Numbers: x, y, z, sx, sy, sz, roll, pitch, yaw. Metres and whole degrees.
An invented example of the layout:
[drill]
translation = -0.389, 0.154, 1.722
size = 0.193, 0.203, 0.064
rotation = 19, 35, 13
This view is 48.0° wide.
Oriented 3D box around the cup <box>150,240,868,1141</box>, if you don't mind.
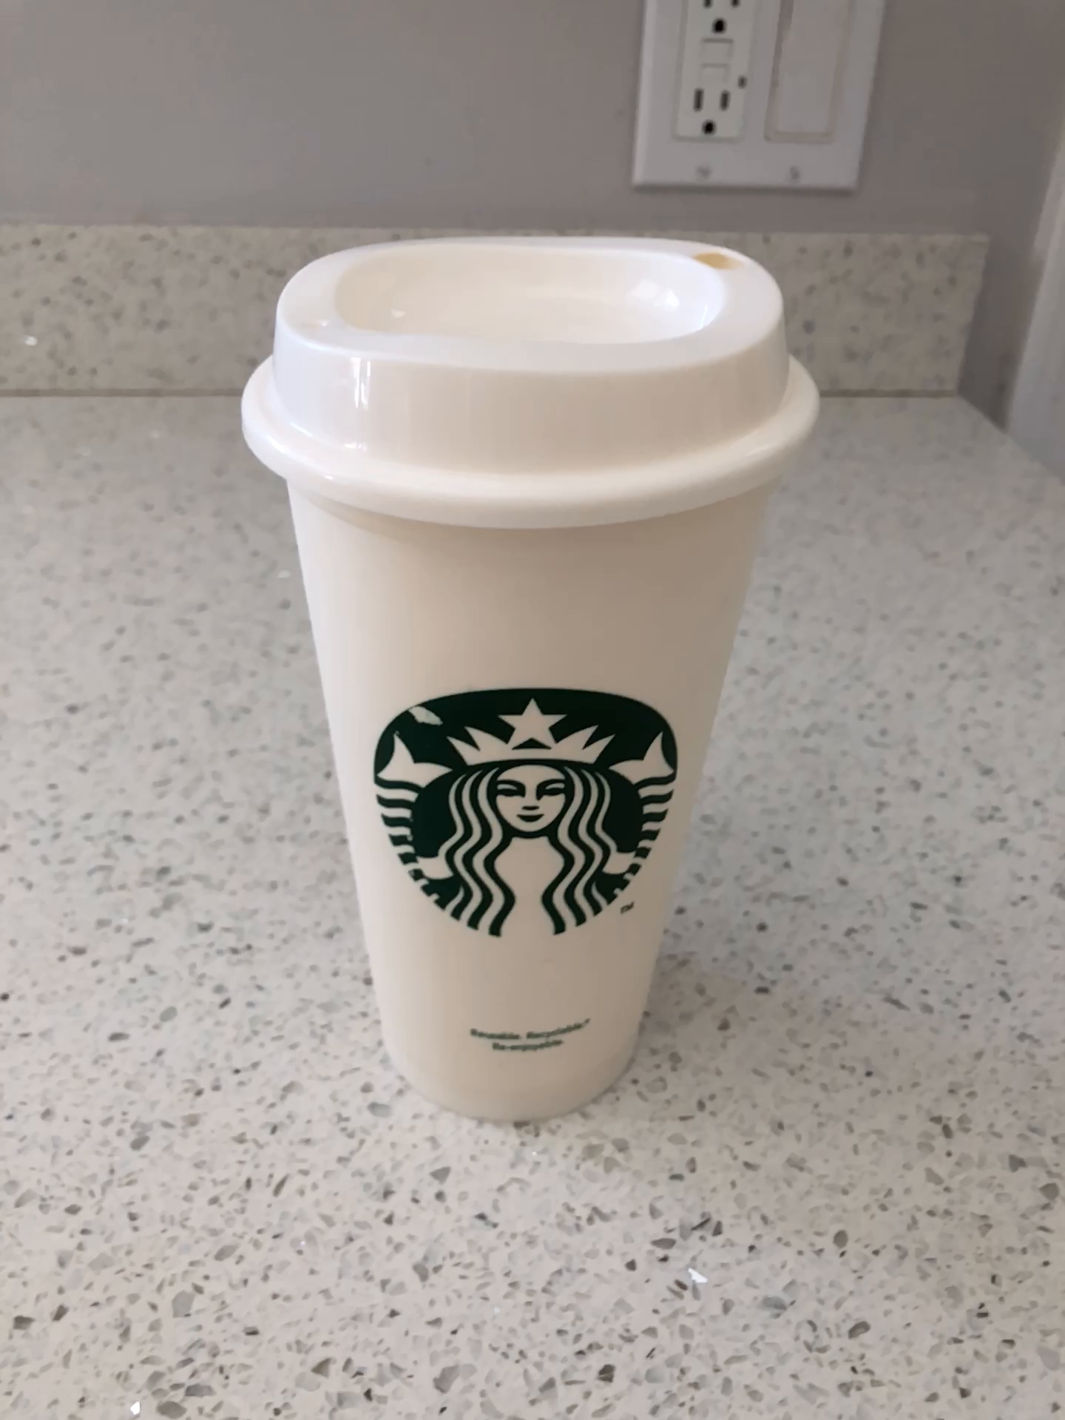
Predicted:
[cup]
translation = -0.004, -0.004, 0.225
size = 0.090, 0.139, 0.090
rotation = 1, 32, -1
